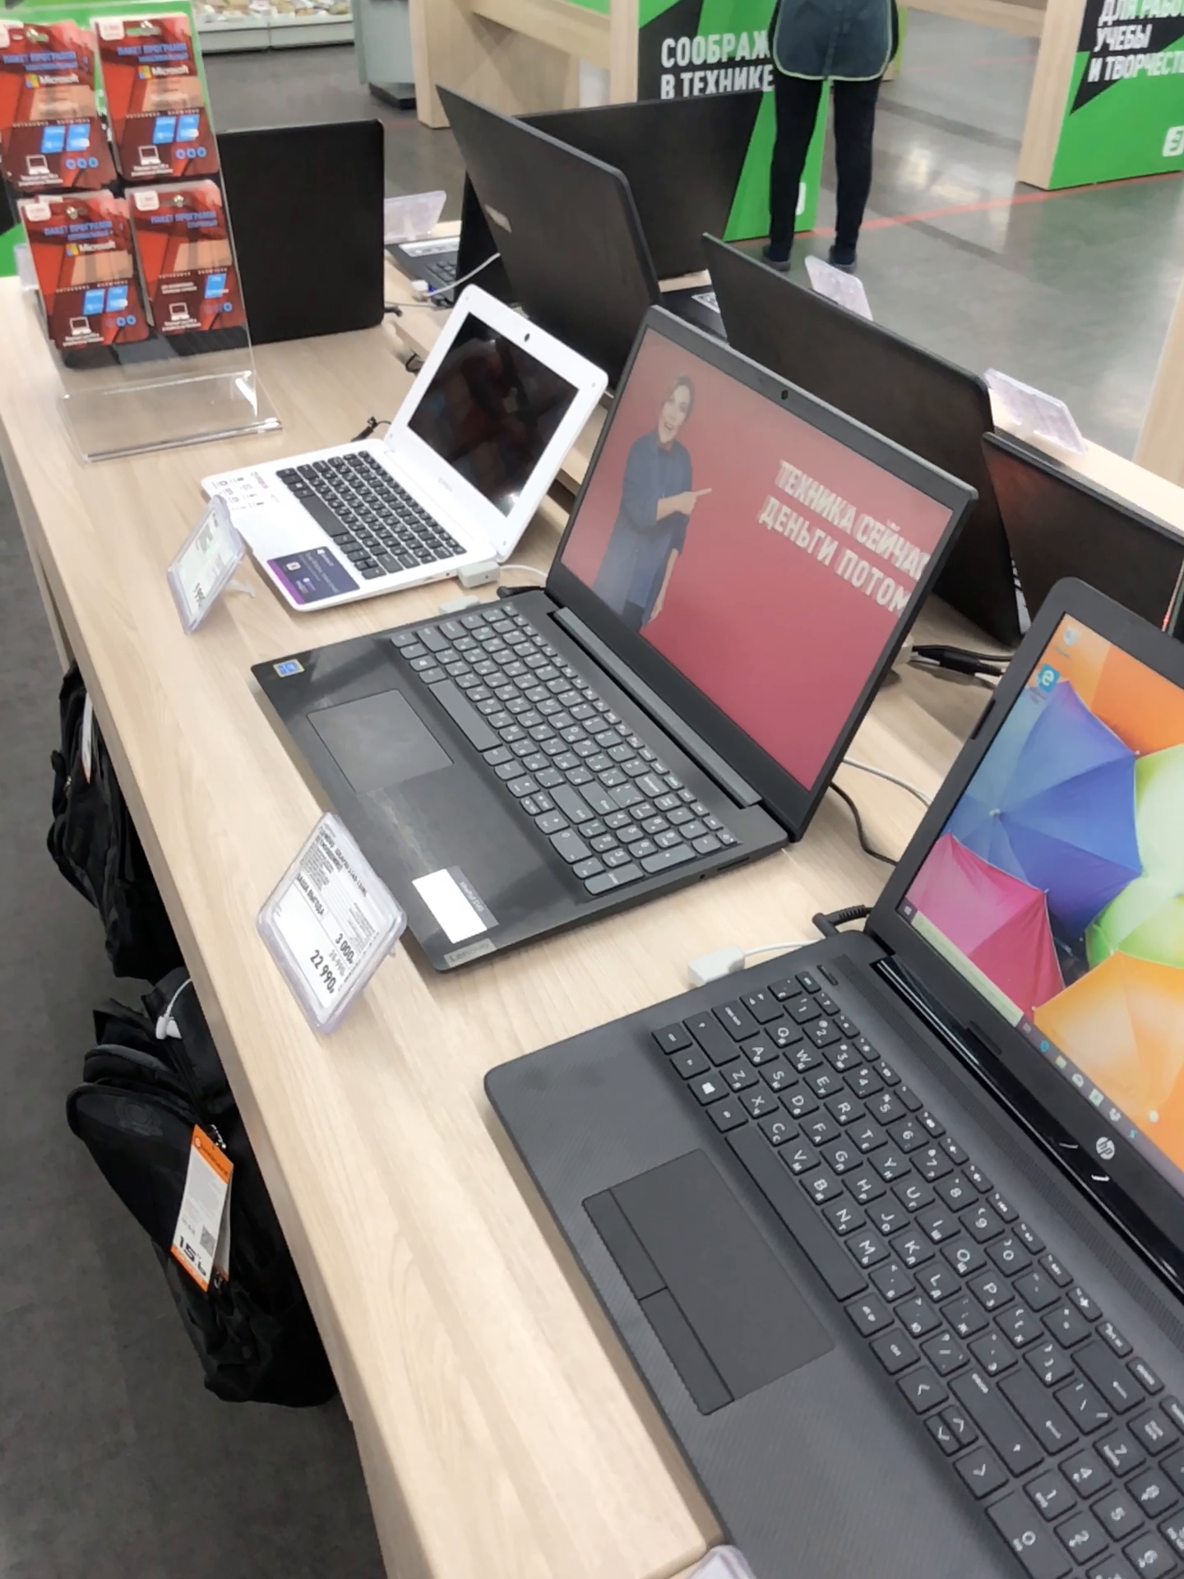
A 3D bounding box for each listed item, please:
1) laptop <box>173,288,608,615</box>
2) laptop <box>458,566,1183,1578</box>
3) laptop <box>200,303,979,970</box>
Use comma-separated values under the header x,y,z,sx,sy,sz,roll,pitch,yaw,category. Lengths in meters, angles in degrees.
x,y,z,sx,sy,sz,roll,pitch,yaw,category
-0.180,-0.315,1.159,0.289,0.139,0.280,-19,41,-22,laptop
0.171,0.119,0.512,0.321,0.206,0.376,-17,40,-20,laptop
-0.020,-0.131,0.850,0.341,0.212,0.356,-19,42,-22,laptop
